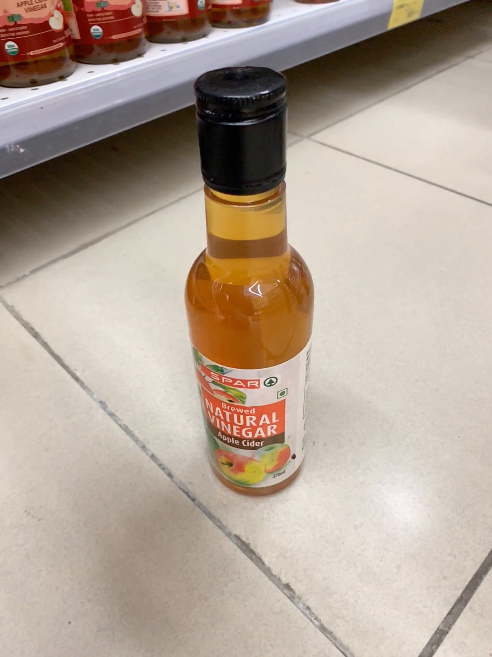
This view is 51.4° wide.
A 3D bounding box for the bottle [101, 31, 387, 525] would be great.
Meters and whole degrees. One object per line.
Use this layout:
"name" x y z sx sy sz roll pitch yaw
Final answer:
"bottle" 0.007 -0.002 0.231 0.070 0.219 0.060 14 46 18
